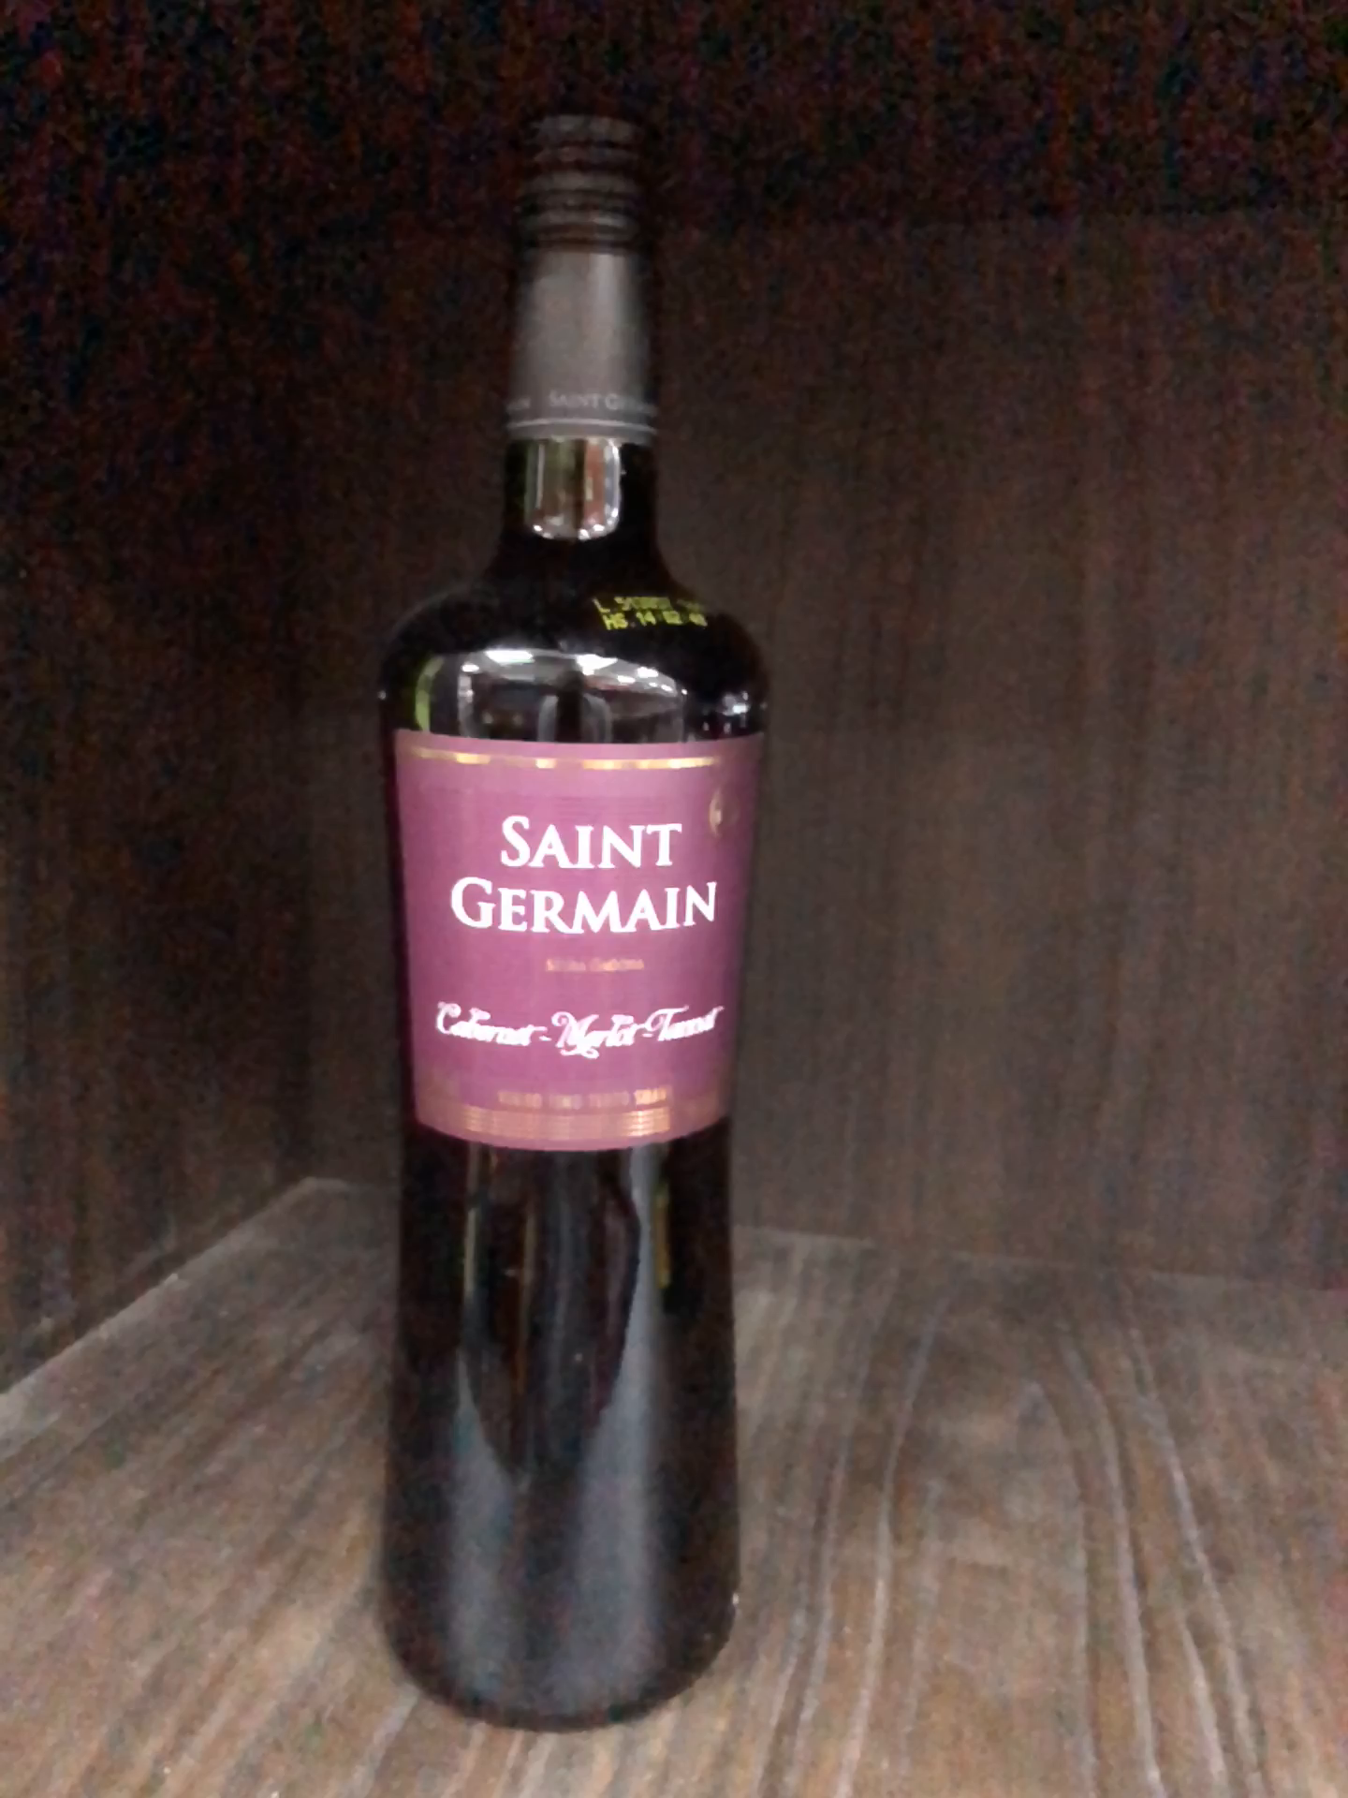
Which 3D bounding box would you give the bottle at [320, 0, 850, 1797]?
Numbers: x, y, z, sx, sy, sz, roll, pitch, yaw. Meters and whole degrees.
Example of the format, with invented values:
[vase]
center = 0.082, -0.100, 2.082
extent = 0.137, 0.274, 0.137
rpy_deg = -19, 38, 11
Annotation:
[bottle]
center = -0.024, 0.003, 0.291
extent = 0.080, 0.309, 0.070
rpy_deg = -1, 9, -17
